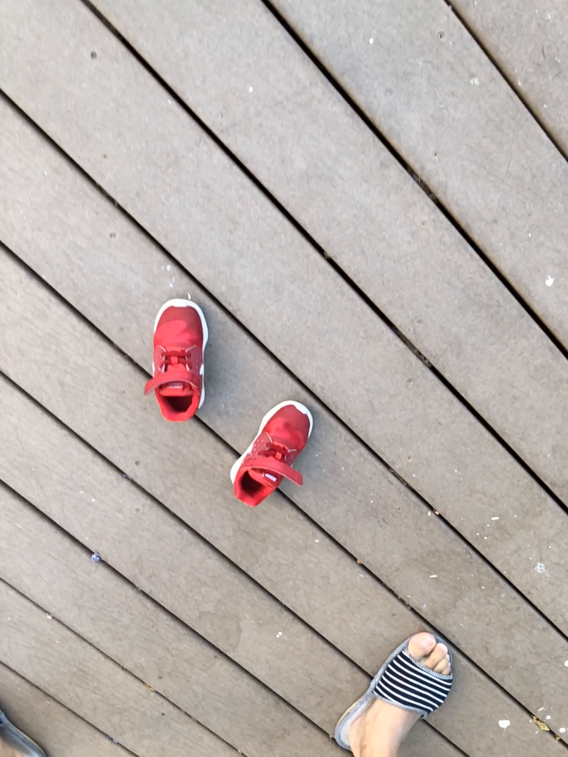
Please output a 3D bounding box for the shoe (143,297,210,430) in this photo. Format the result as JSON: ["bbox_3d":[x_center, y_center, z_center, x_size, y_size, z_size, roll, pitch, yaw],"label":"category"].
[{"bbox_3d":[-0.135,-0.020,0.797,0.073,0.069,0.153,3,111,-2],"label":"shoe"}]

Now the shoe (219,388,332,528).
[{"bbox_3d":[-0.013,0.108,0.845,0.069,0.069,0.165,31,108,-12],"label":"shoe"}]
